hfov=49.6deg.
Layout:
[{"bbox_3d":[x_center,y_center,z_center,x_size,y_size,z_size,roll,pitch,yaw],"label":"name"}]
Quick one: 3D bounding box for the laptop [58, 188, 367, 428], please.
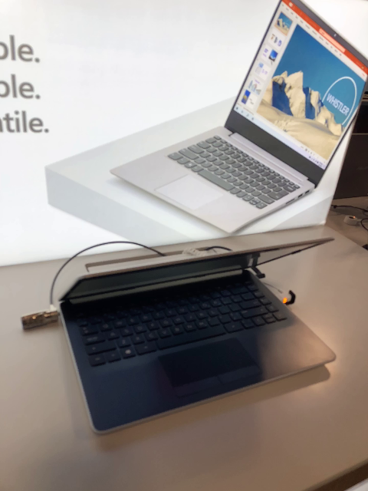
[{"bbox_3d":[0.016,0.046,0.509,0.302,0.155,0.226,-8,29,-23],"label":"laptop"}]
